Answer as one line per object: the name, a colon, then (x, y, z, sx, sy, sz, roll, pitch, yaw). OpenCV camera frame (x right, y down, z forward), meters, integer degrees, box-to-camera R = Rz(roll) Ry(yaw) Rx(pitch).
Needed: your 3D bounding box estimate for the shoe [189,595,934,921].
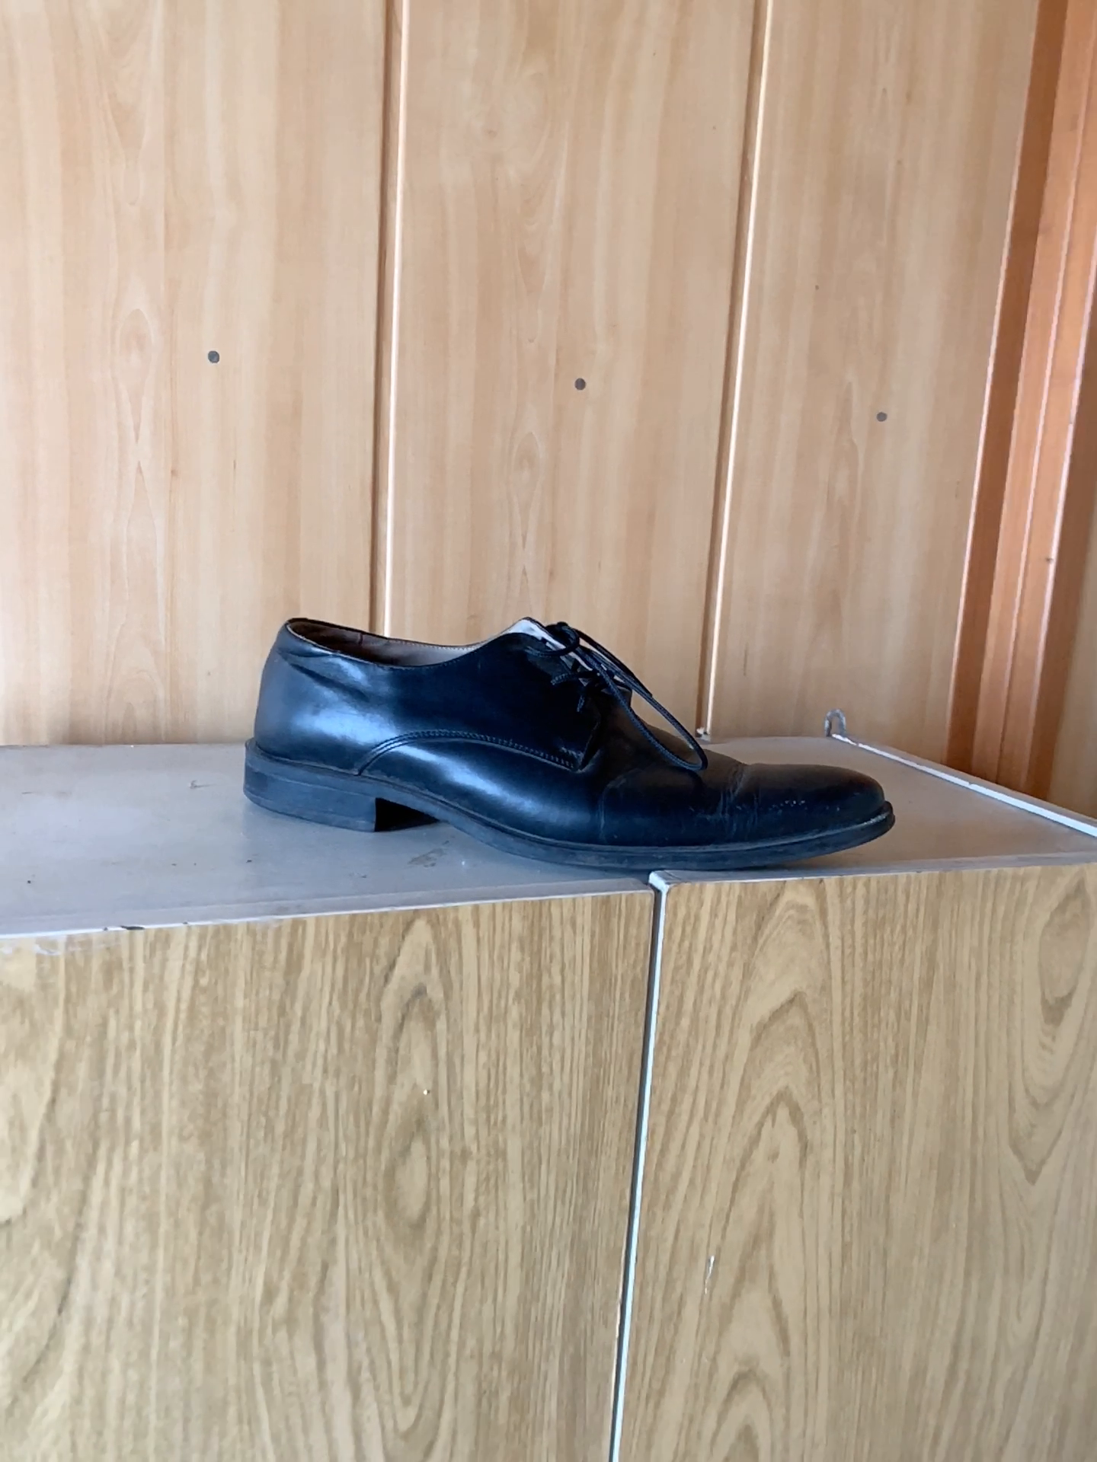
shoe: (0.009, -0.002, 0.512, 0.300, 0.090, 0.141, 6, 11, 14)
